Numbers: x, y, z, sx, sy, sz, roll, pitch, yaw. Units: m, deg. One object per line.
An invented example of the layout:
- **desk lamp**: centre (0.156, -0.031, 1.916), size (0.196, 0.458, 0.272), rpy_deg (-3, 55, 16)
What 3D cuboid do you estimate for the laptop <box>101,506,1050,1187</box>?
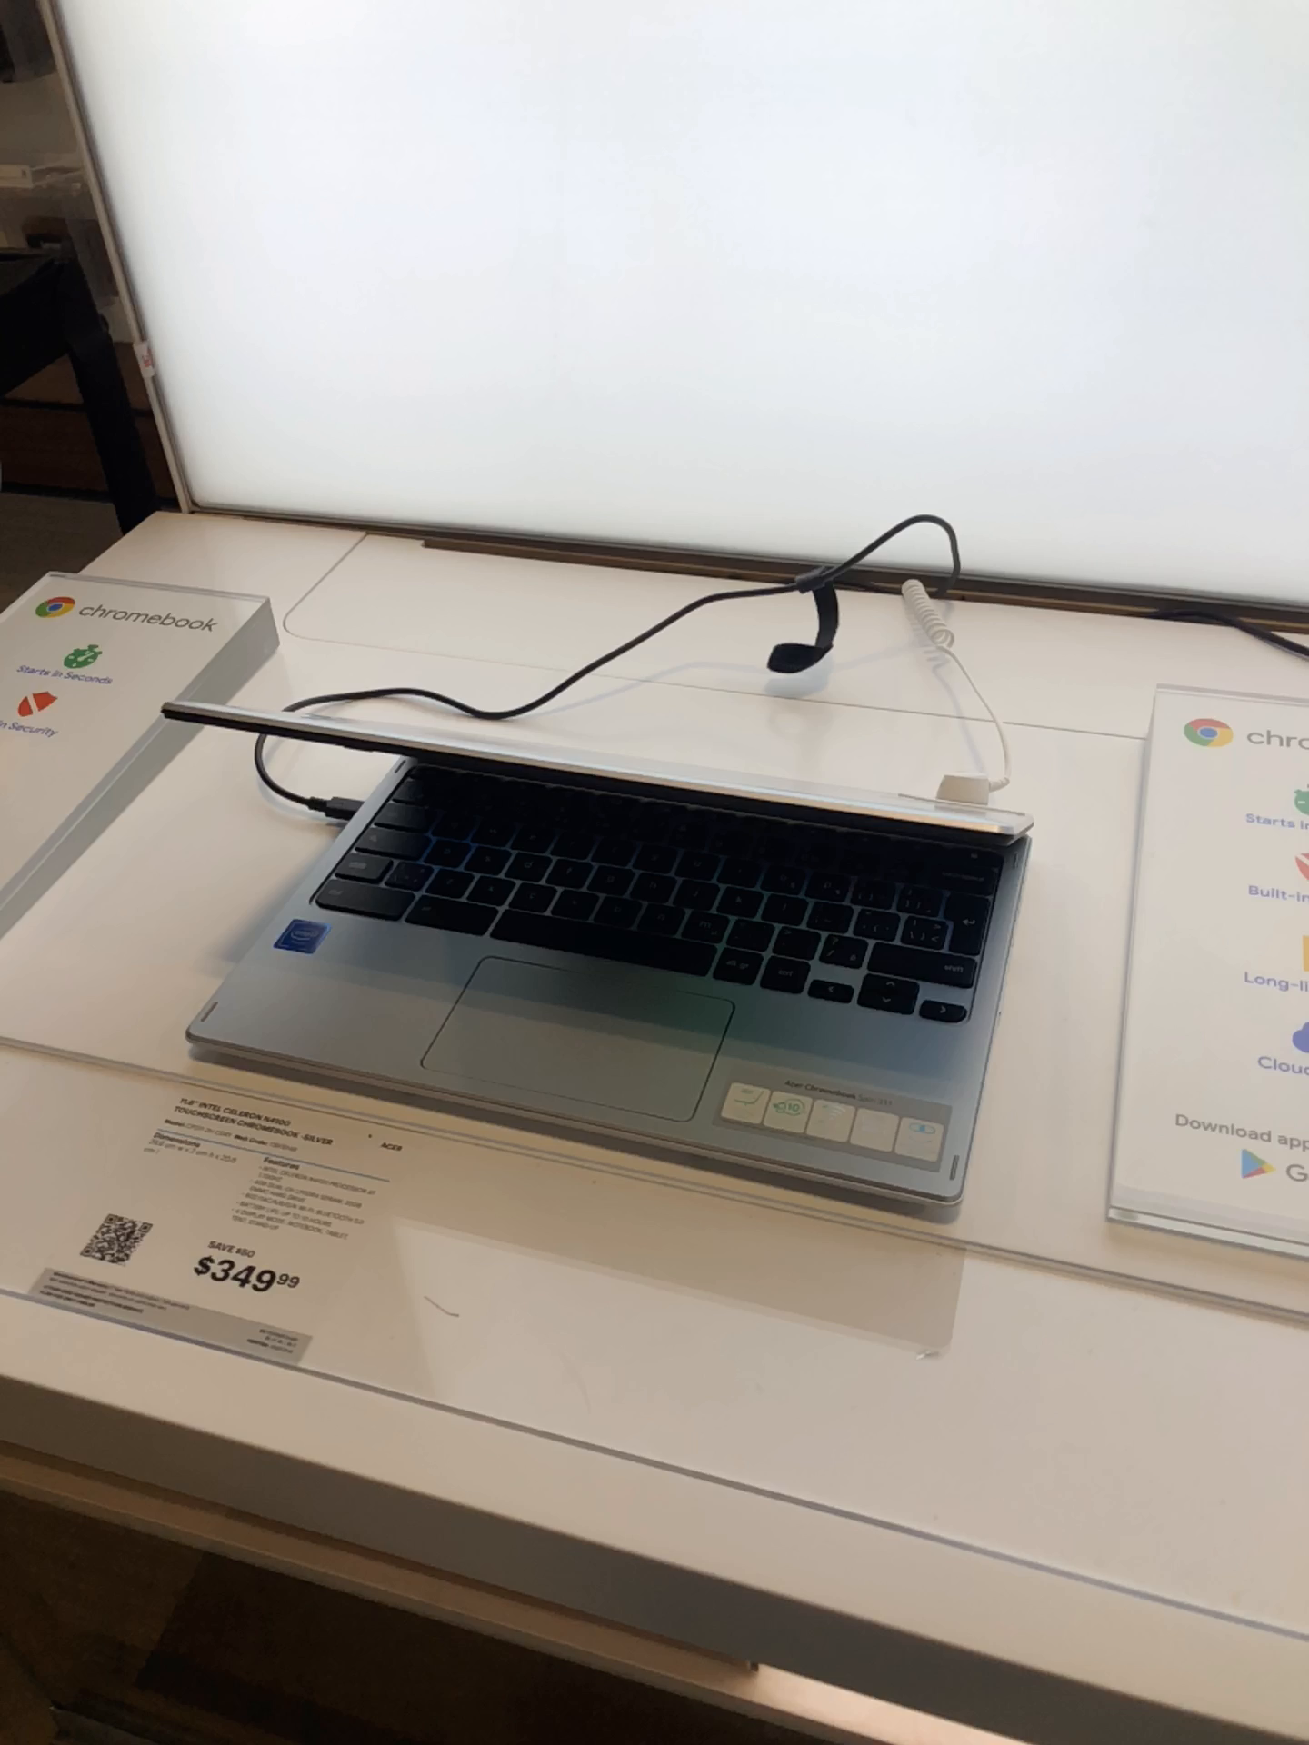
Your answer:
- **laptop**: centre (-0.013, -0.026, 0.536), size (0.280, 0.123, 0.192), rpy_deg (9, 40, 15)
